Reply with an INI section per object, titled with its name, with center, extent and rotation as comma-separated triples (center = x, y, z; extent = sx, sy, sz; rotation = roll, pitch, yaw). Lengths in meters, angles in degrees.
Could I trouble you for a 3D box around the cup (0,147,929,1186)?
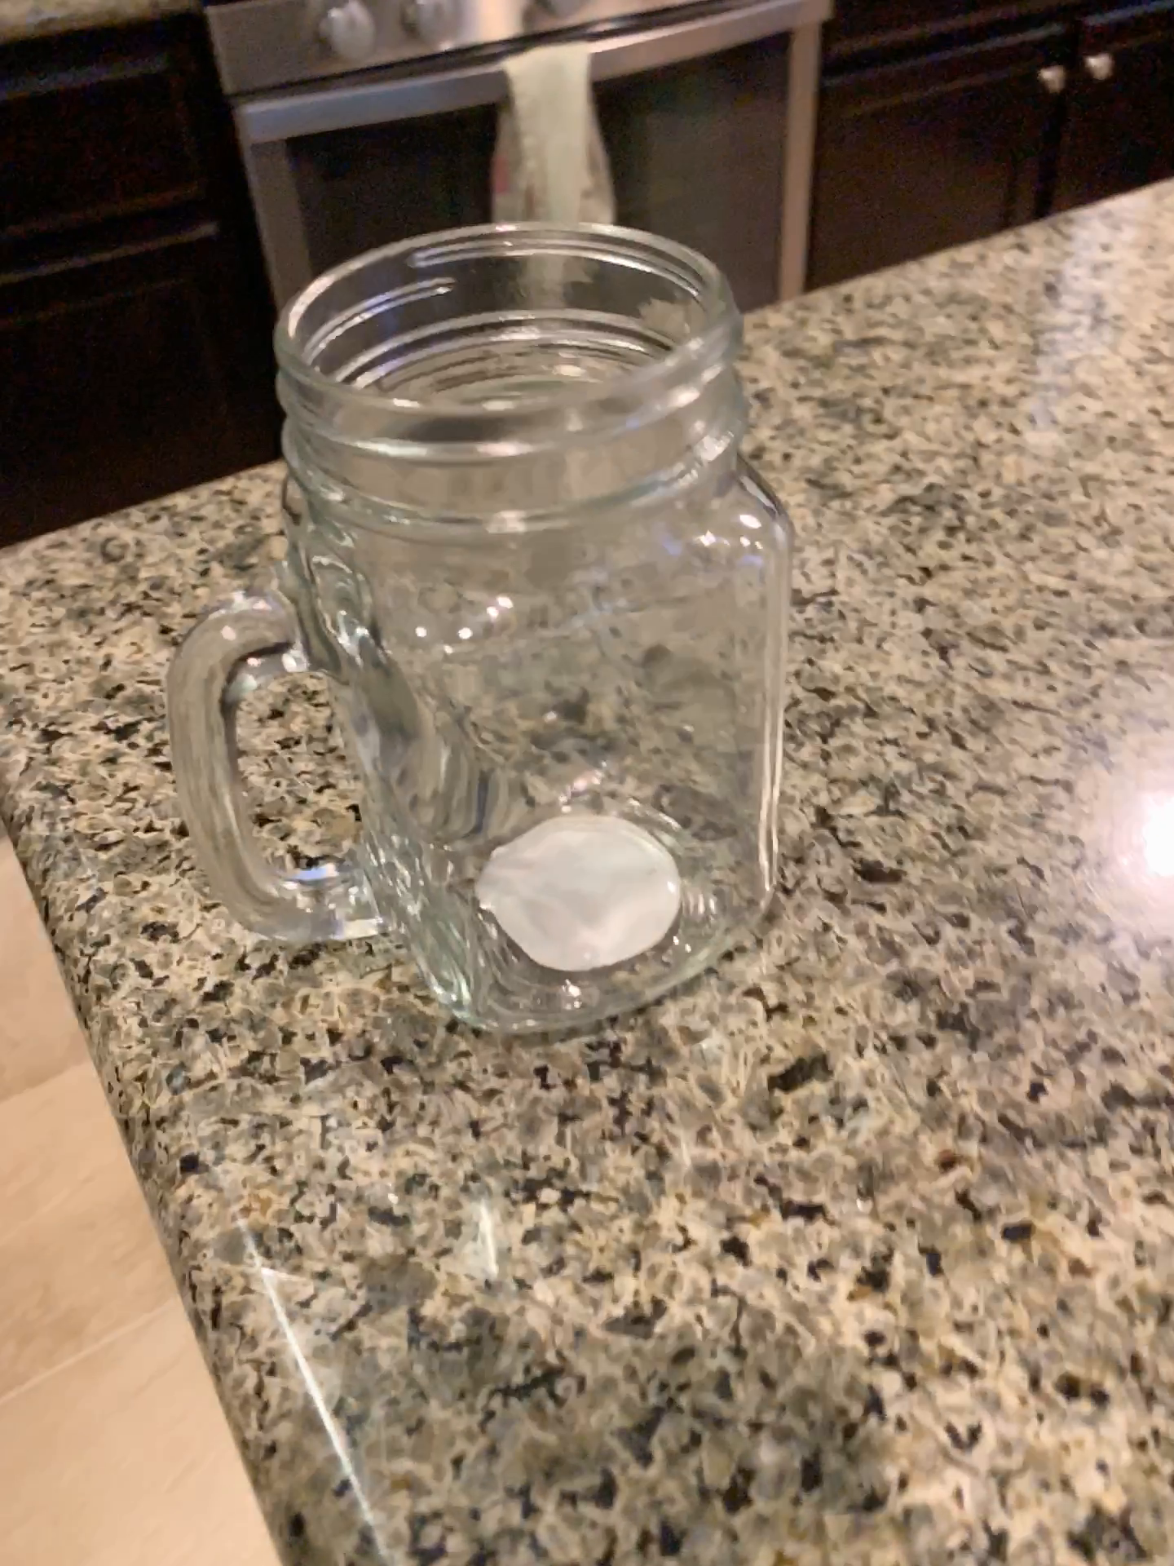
[cup]
center = -0.024, -0.023, 0.207
extent = 0.120, 0.119, 0.081
rotation = -22, 45, -19
